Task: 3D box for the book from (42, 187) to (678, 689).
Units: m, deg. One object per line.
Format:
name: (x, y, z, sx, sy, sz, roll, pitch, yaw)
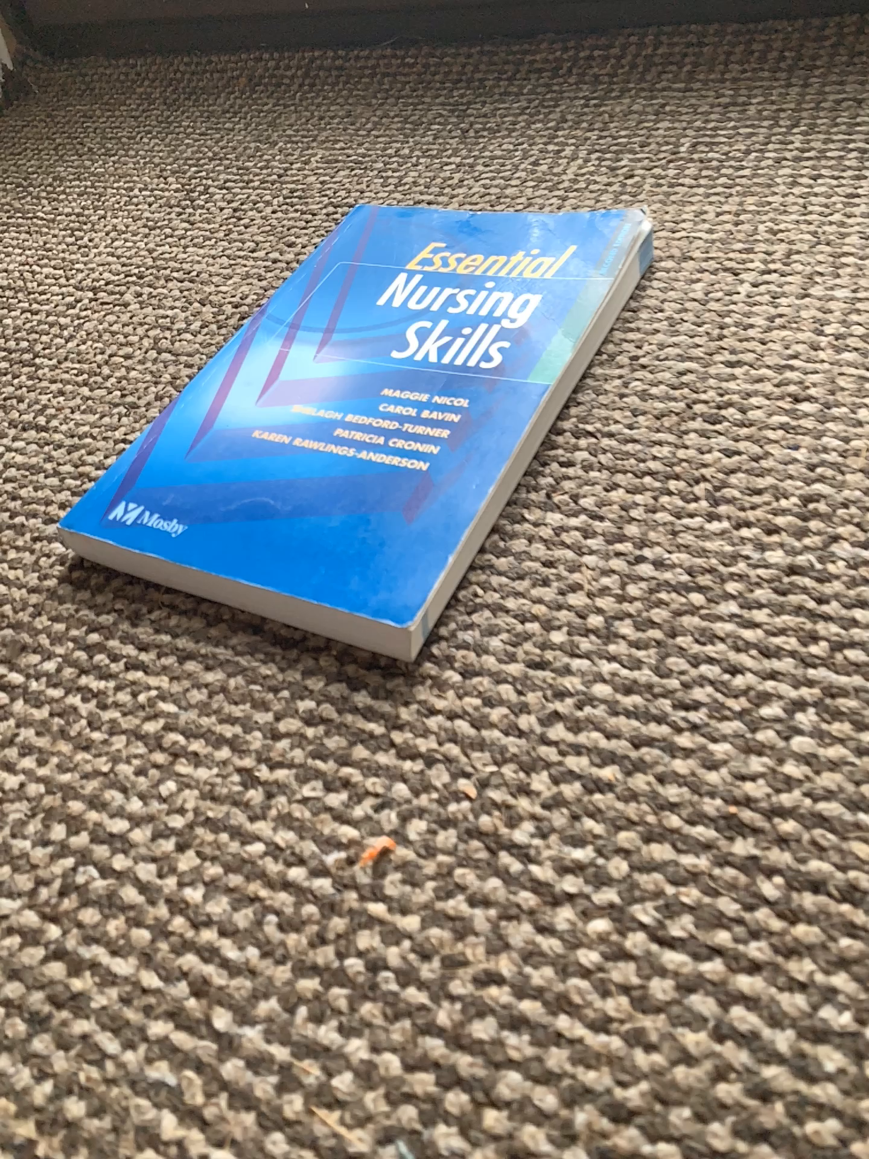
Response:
book: (-0.021, -0.085, 0.371, 0.171, 0.020, 0.251, 14, 57, 27)
